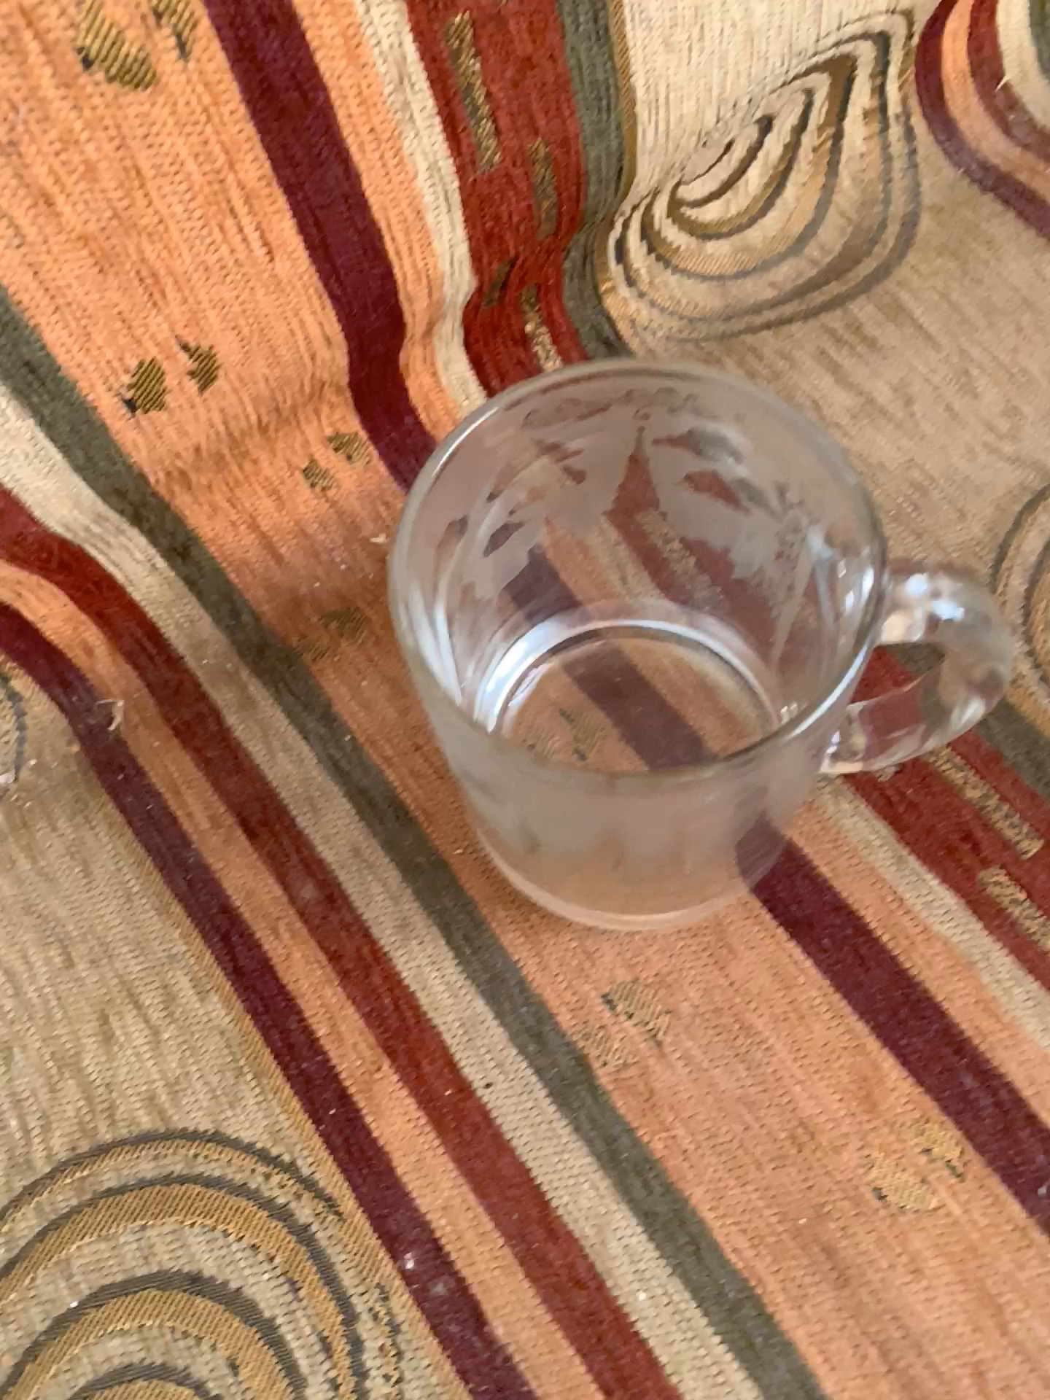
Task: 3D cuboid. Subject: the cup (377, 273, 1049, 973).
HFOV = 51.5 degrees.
[{"bbox_3d":[0.040,-0.007,0.203,0.115,0.087,0.084,-7,63,3],"label":"cup"}]
